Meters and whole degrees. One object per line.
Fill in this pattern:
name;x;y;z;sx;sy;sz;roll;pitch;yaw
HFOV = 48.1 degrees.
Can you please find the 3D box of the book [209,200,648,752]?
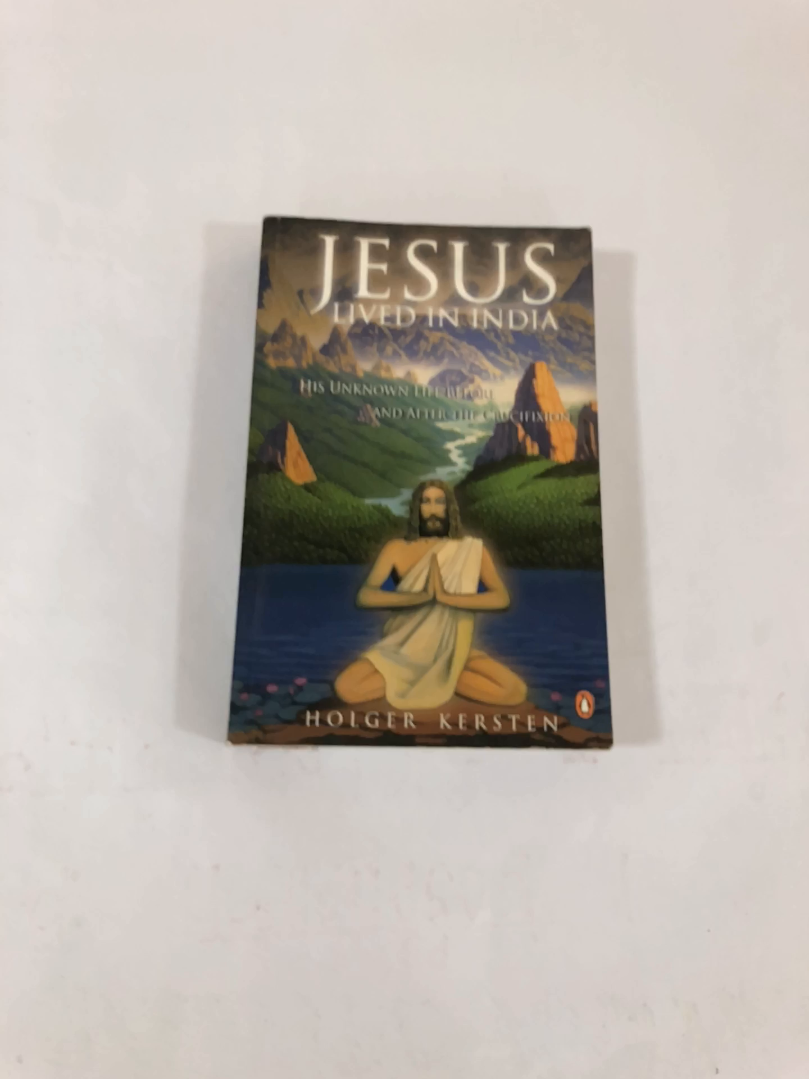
book;0.011;-0.028;0.352;0.150;0.030;0.210;2;74;-2
